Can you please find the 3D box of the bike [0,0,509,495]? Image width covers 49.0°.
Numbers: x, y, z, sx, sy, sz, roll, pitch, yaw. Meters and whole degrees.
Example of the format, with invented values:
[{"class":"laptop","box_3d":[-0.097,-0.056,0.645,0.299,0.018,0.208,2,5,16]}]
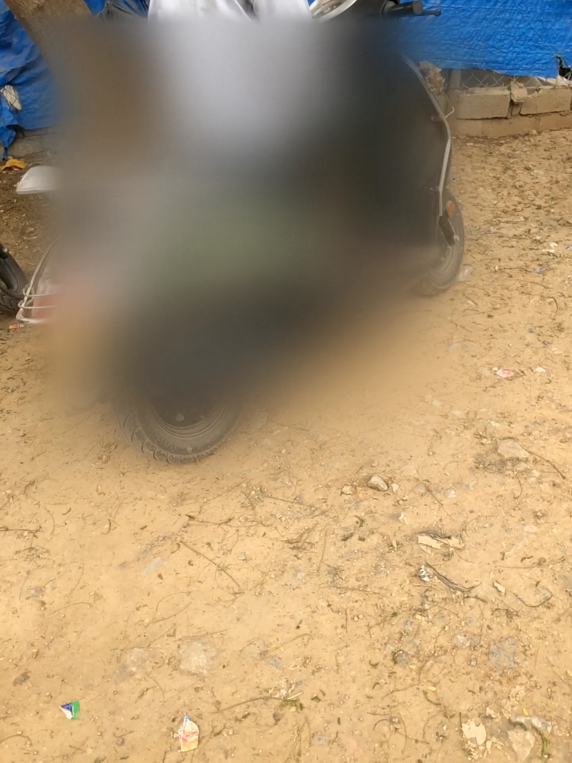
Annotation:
[{"class":"bike","box_3d":[0.005,-0.702,2.060,0.623,1.054,1.730,22,42,35]}]
